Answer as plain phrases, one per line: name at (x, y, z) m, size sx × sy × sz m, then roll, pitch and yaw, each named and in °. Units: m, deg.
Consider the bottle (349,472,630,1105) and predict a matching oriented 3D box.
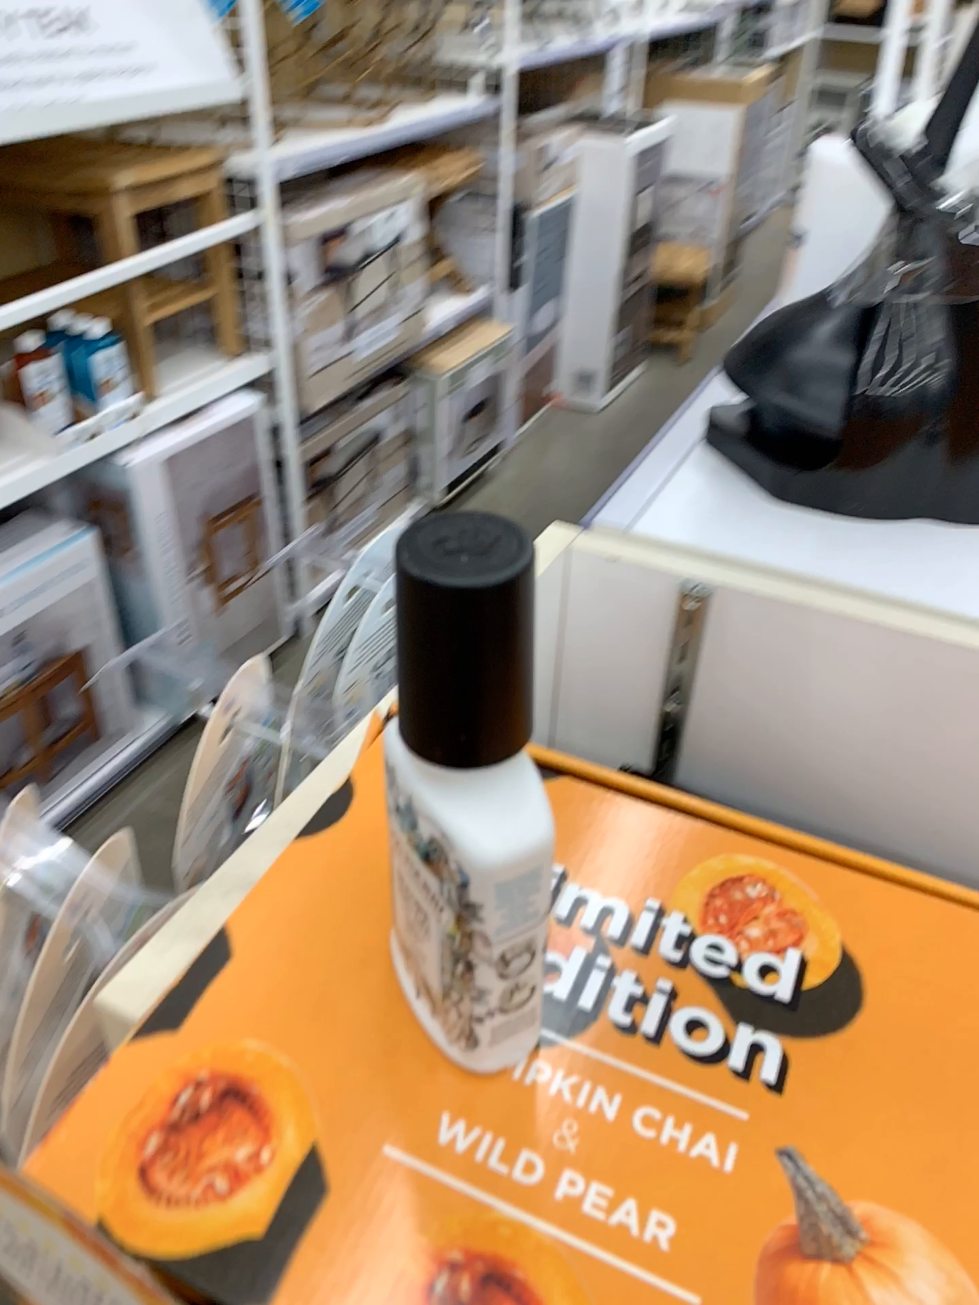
bottle at (-0.004, 0.039, 0.245) m, size 0.033 × 0.151 × 0.055 m, roll -18°, pitch 41°, yaw -25°
